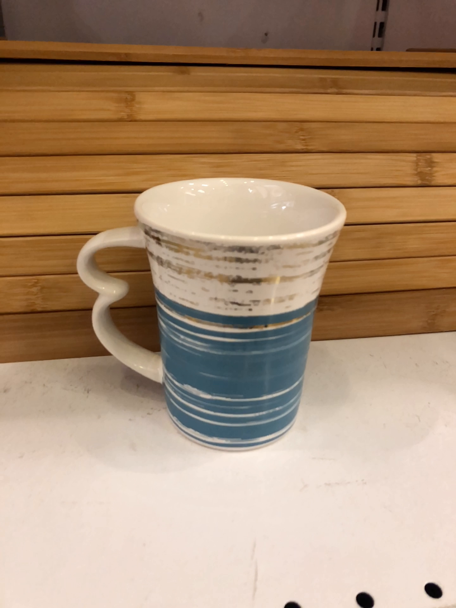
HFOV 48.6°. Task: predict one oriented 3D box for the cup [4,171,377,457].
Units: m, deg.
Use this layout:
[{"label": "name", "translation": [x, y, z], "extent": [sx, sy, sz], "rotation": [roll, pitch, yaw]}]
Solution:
[{"label": "cup", "translation": [-0.012, -0.001, 0.223], "extent": [0.120, 0.089, 0.091], "rotation": [2, 27, 1]}]
